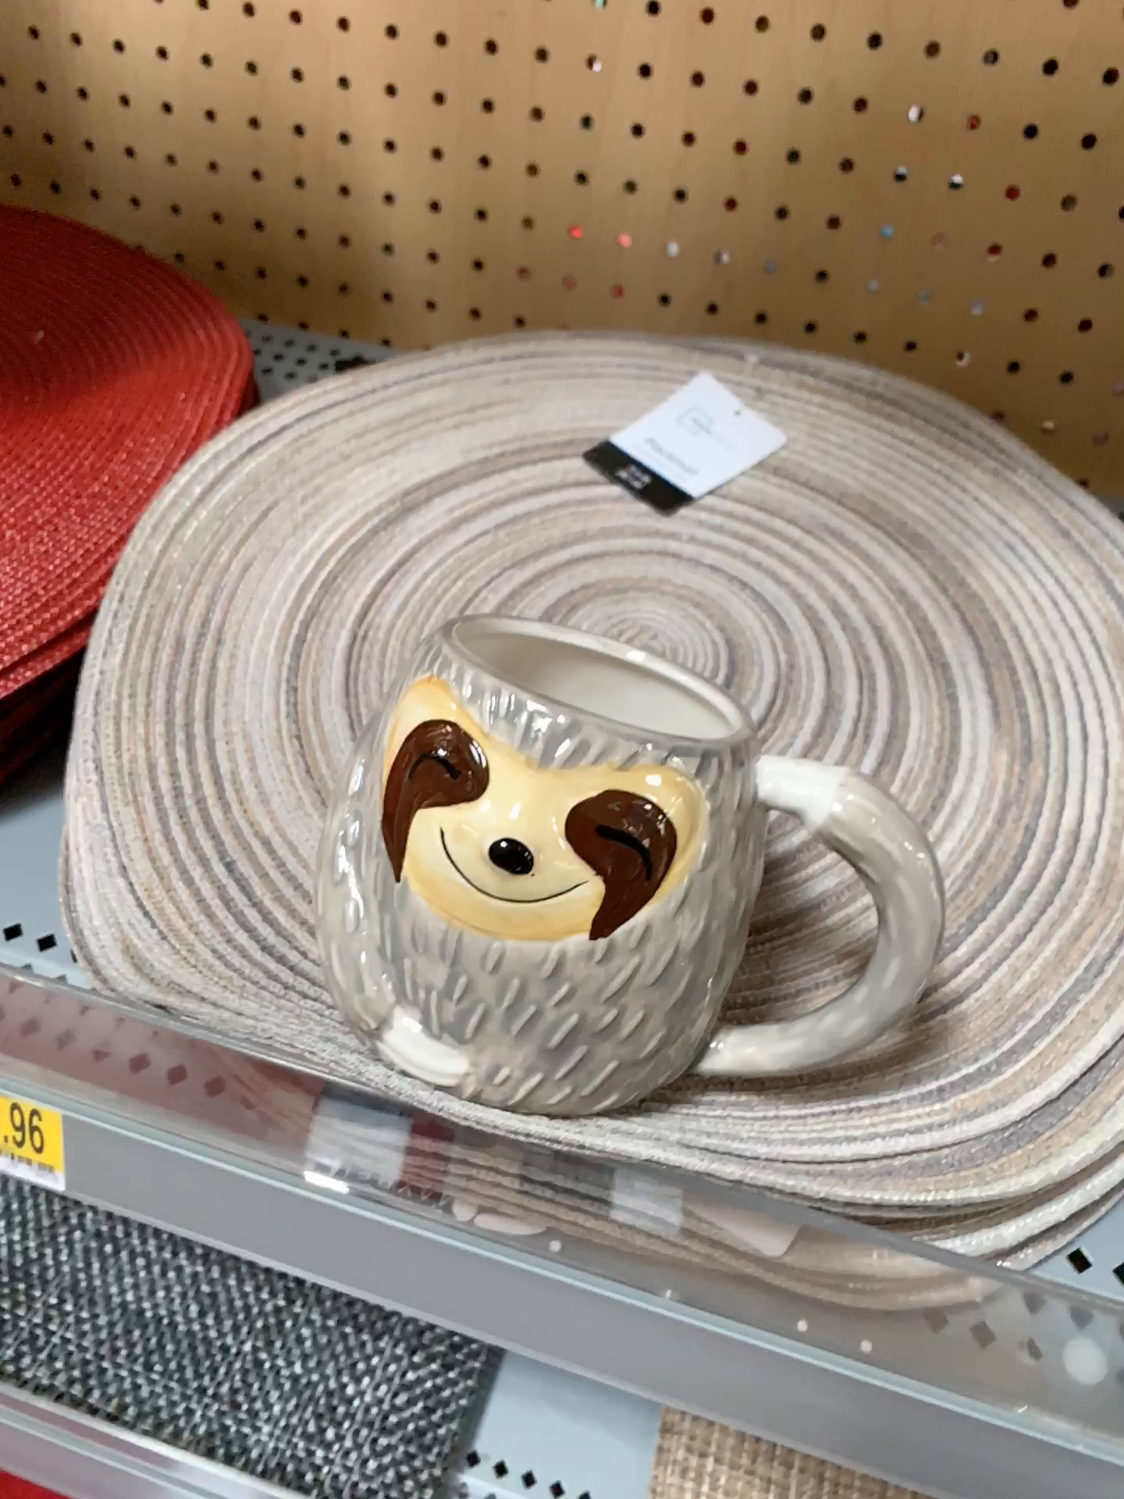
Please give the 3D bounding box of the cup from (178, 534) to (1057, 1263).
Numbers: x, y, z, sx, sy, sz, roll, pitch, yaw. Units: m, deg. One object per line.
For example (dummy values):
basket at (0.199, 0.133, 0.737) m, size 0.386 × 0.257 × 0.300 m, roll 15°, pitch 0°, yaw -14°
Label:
cup at (0.012, 0.022, 0.271) m, size 0.150 × 0.089 × 0.106 m, roll 17°, pitch 21°, yaw 6°
